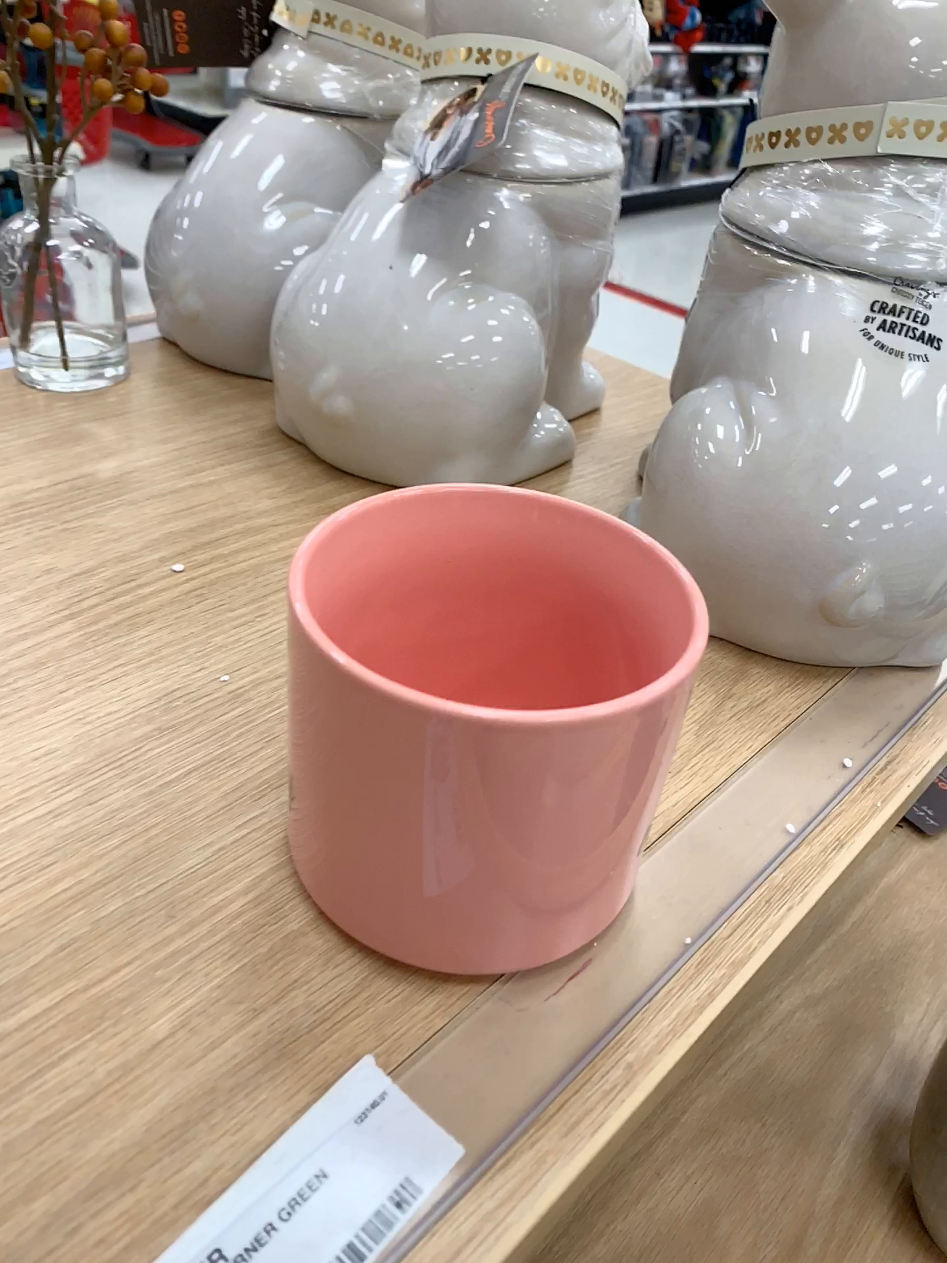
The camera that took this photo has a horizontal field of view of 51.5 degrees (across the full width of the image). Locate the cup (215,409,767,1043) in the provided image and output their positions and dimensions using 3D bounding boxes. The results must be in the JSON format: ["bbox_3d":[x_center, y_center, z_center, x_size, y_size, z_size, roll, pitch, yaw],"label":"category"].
[{"bbox_3d":[0.008,0.015,0.260,0.104,0.085,0.133,10,36,3],"label":"cup"}]
